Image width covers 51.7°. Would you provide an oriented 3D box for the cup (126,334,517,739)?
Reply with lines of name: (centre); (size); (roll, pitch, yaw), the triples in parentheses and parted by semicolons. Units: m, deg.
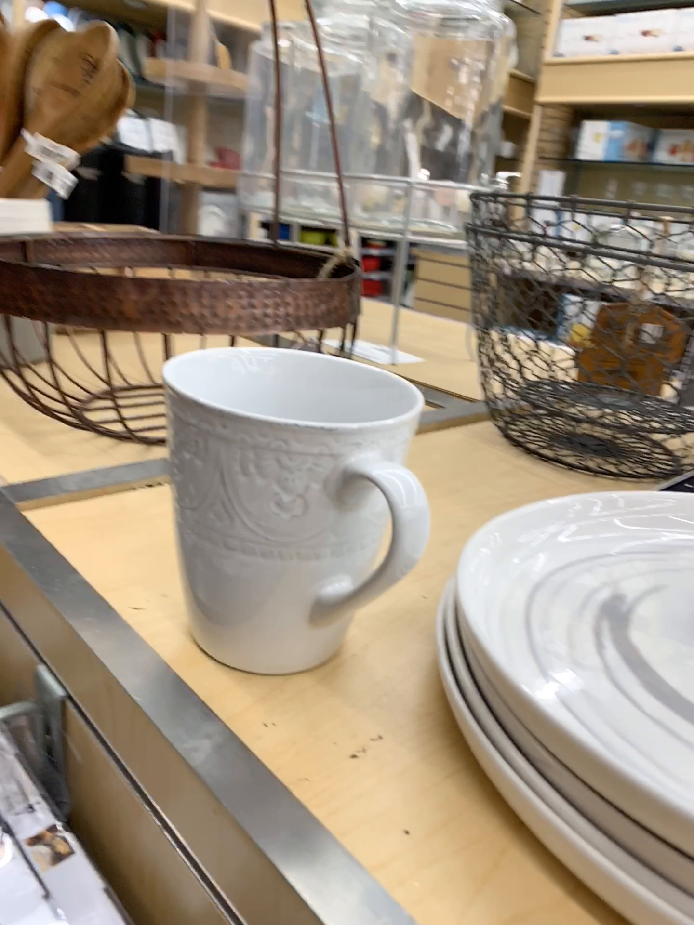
cup: (-0.019, 0.015, 0.299); (0.099, 0.107, 0.125); (-11, 27, -38)
